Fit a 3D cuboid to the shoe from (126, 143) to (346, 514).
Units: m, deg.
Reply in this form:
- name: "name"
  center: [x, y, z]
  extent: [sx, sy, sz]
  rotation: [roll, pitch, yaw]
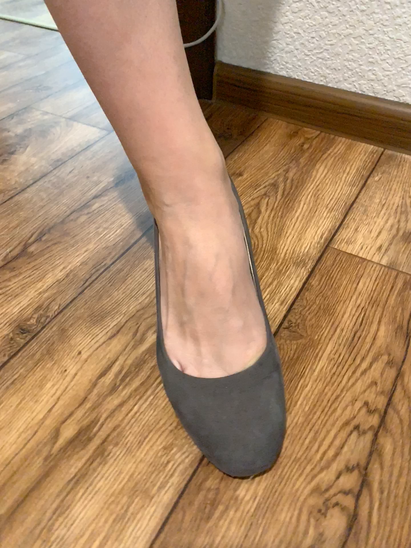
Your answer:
- name: "shoe"
  center: [0.002, 0.019, 0.280]
  extent: [0.083, 0.109, 0.211]
  rotation: [-8, 45, -4]
